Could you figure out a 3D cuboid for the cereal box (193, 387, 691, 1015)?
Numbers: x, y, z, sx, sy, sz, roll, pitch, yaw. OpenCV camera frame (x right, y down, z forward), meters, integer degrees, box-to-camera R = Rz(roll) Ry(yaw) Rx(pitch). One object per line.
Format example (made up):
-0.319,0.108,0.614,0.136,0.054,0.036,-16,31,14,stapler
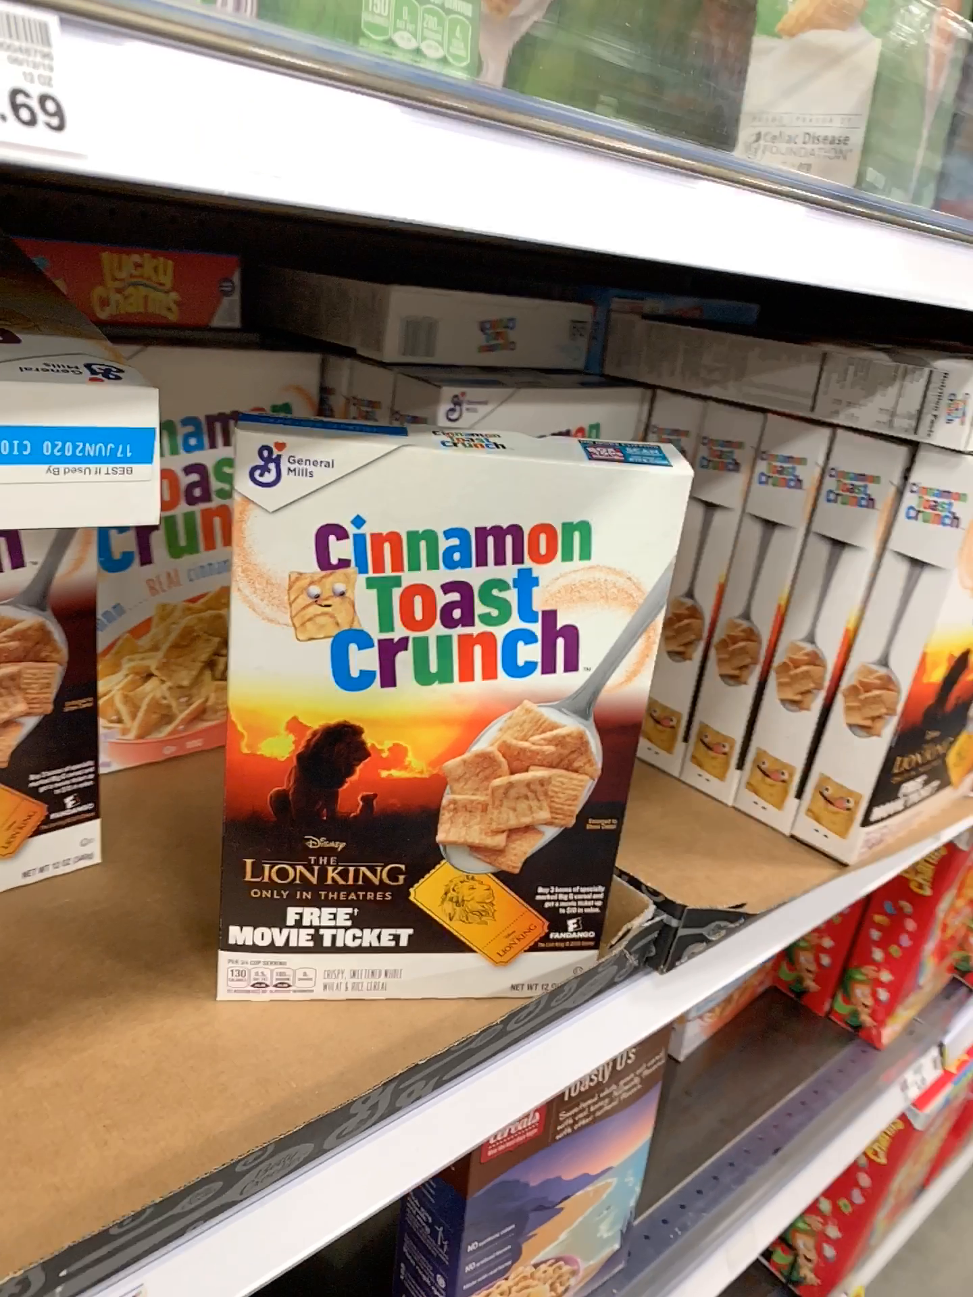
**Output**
-0.032,0.035,0.463,0.190,0.279,0.060,3,23,-11,cereal box
